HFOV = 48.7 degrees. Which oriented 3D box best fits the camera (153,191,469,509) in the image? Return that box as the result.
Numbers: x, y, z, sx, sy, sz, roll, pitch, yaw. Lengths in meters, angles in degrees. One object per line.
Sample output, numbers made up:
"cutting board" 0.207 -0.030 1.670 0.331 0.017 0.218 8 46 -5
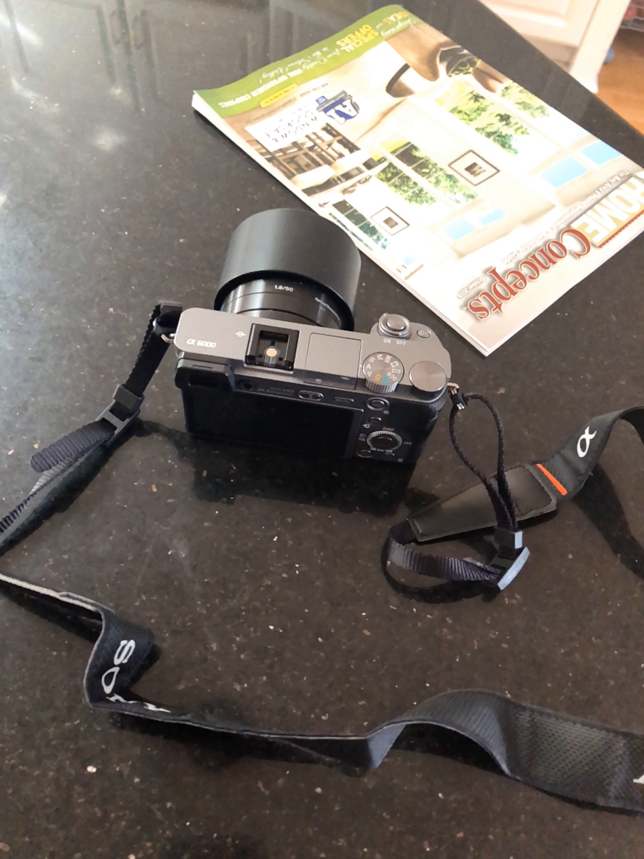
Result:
"camera" -0.004 -0.036 0.355 0.127 0.100 0.100 9 59 -1
